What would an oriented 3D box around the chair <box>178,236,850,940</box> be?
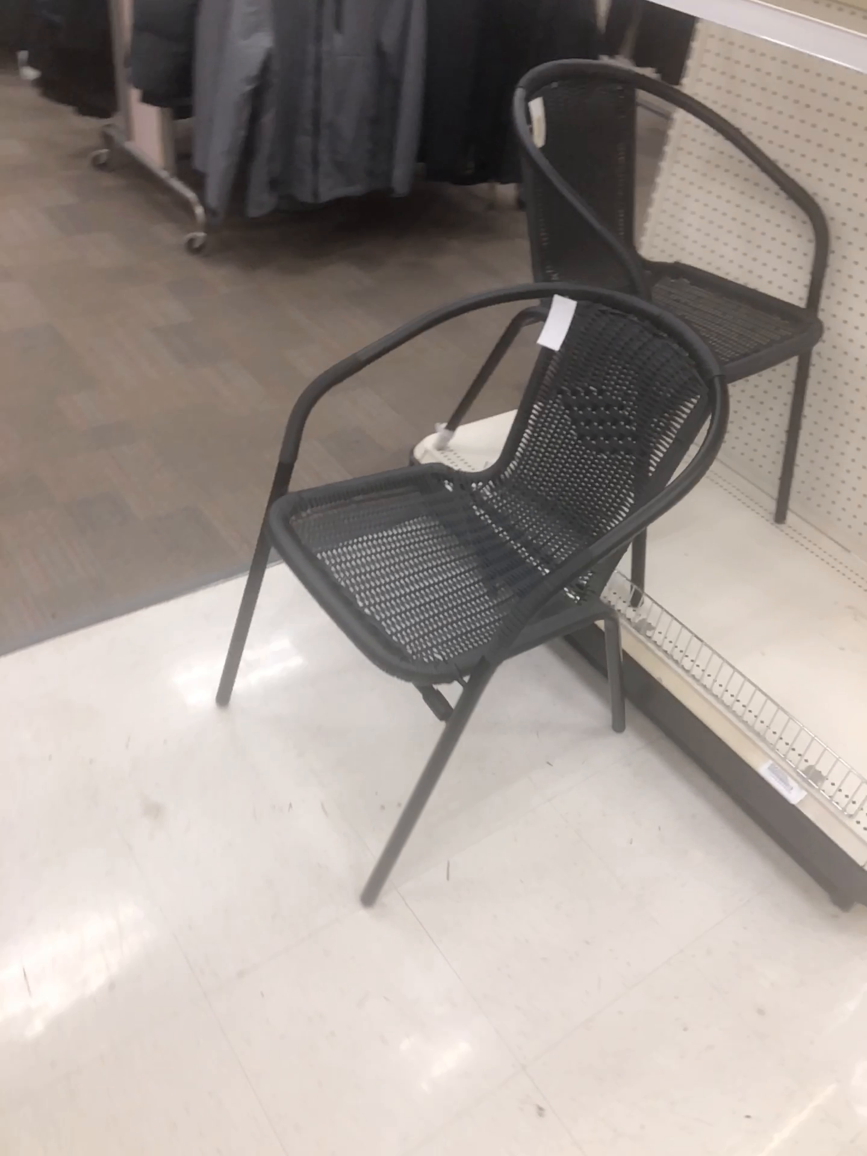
[{"bbox_3d":[0.053,-0.020,1.384,0.642,0.696,0.531,-18,47,-30],"label":"chair"}]
